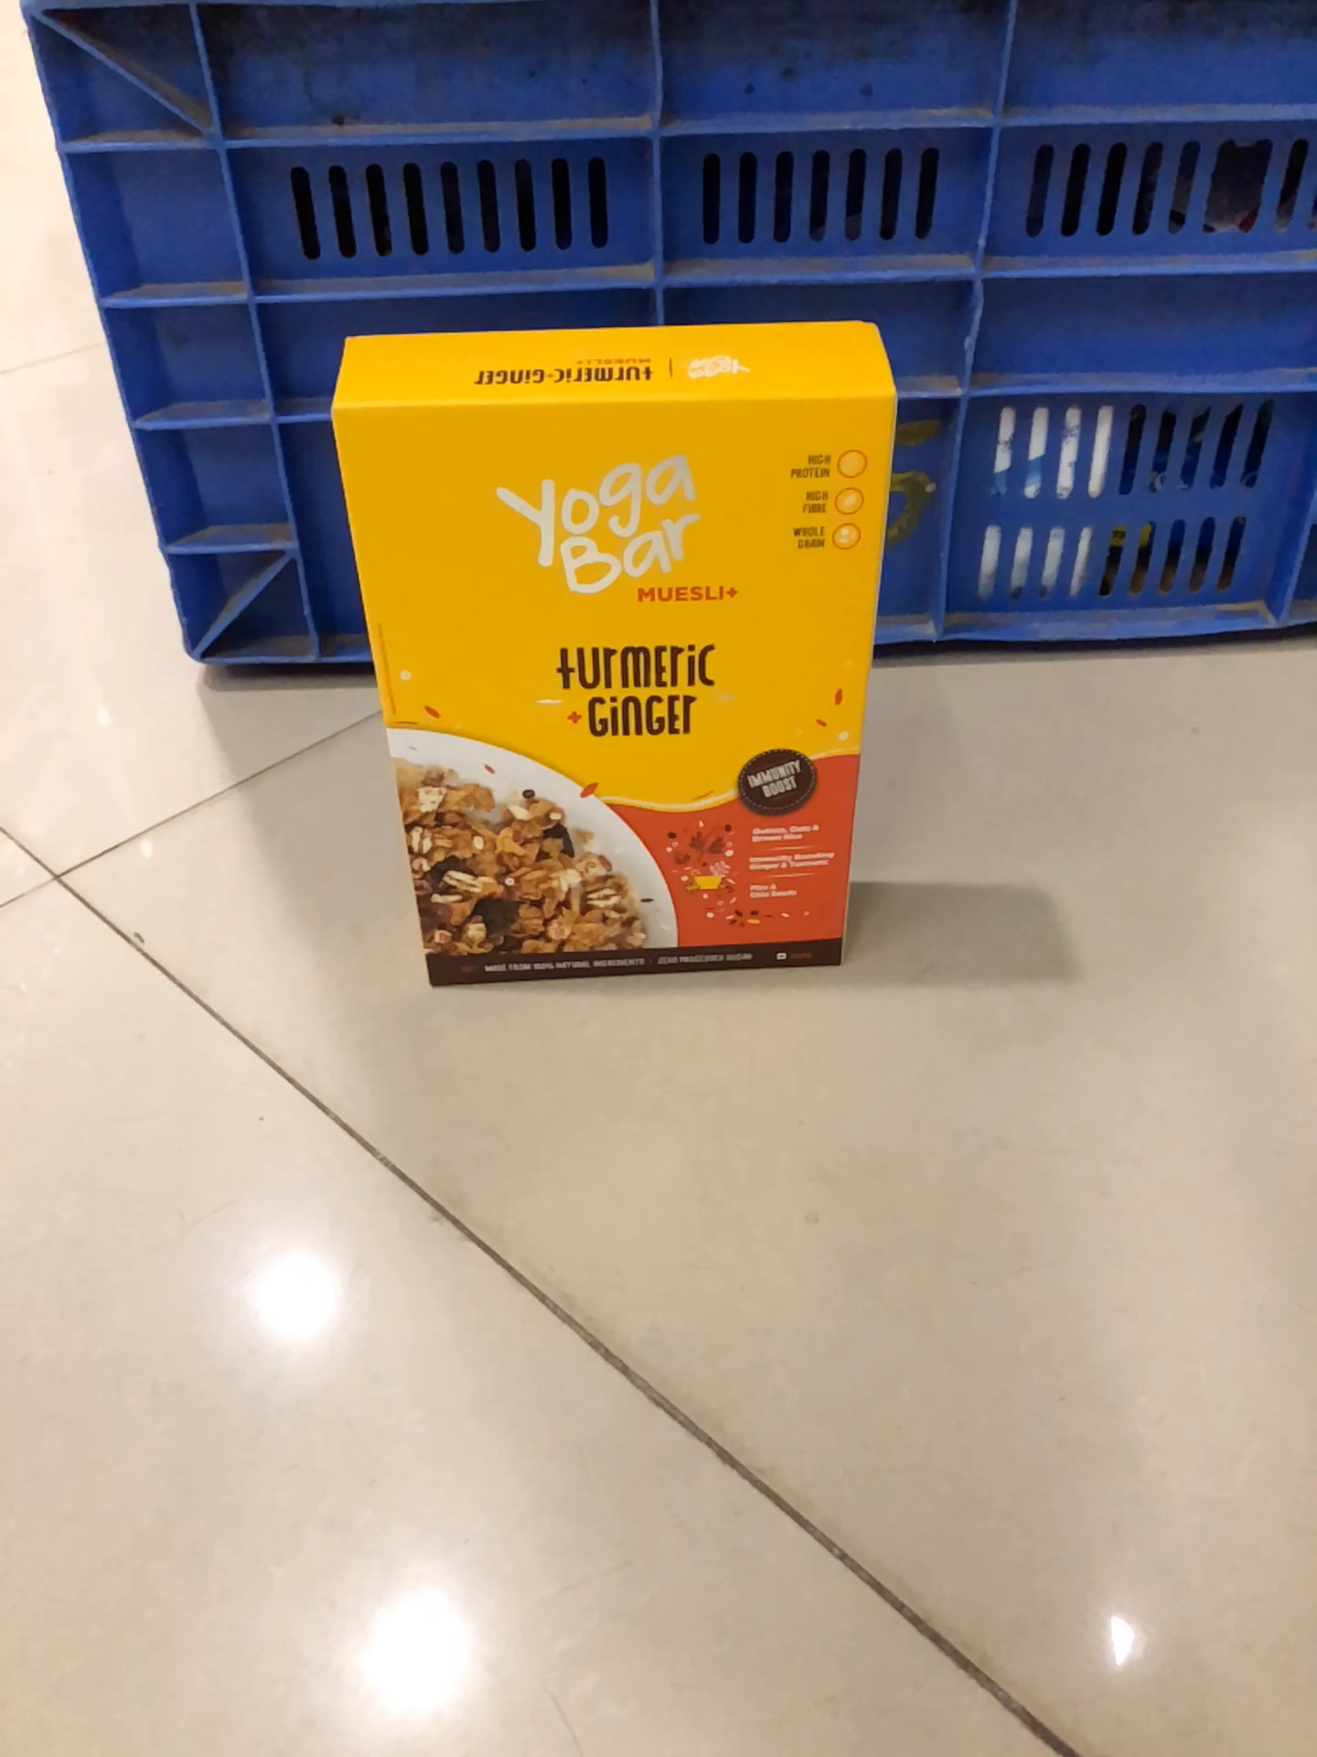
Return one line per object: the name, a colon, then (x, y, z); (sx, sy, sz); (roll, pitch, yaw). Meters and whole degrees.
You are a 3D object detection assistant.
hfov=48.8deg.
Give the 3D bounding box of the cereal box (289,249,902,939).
cereal box: (-0.016, -0.086, 0.500); (0.170, 0.228, 0.060); (-2, 41, -1)
